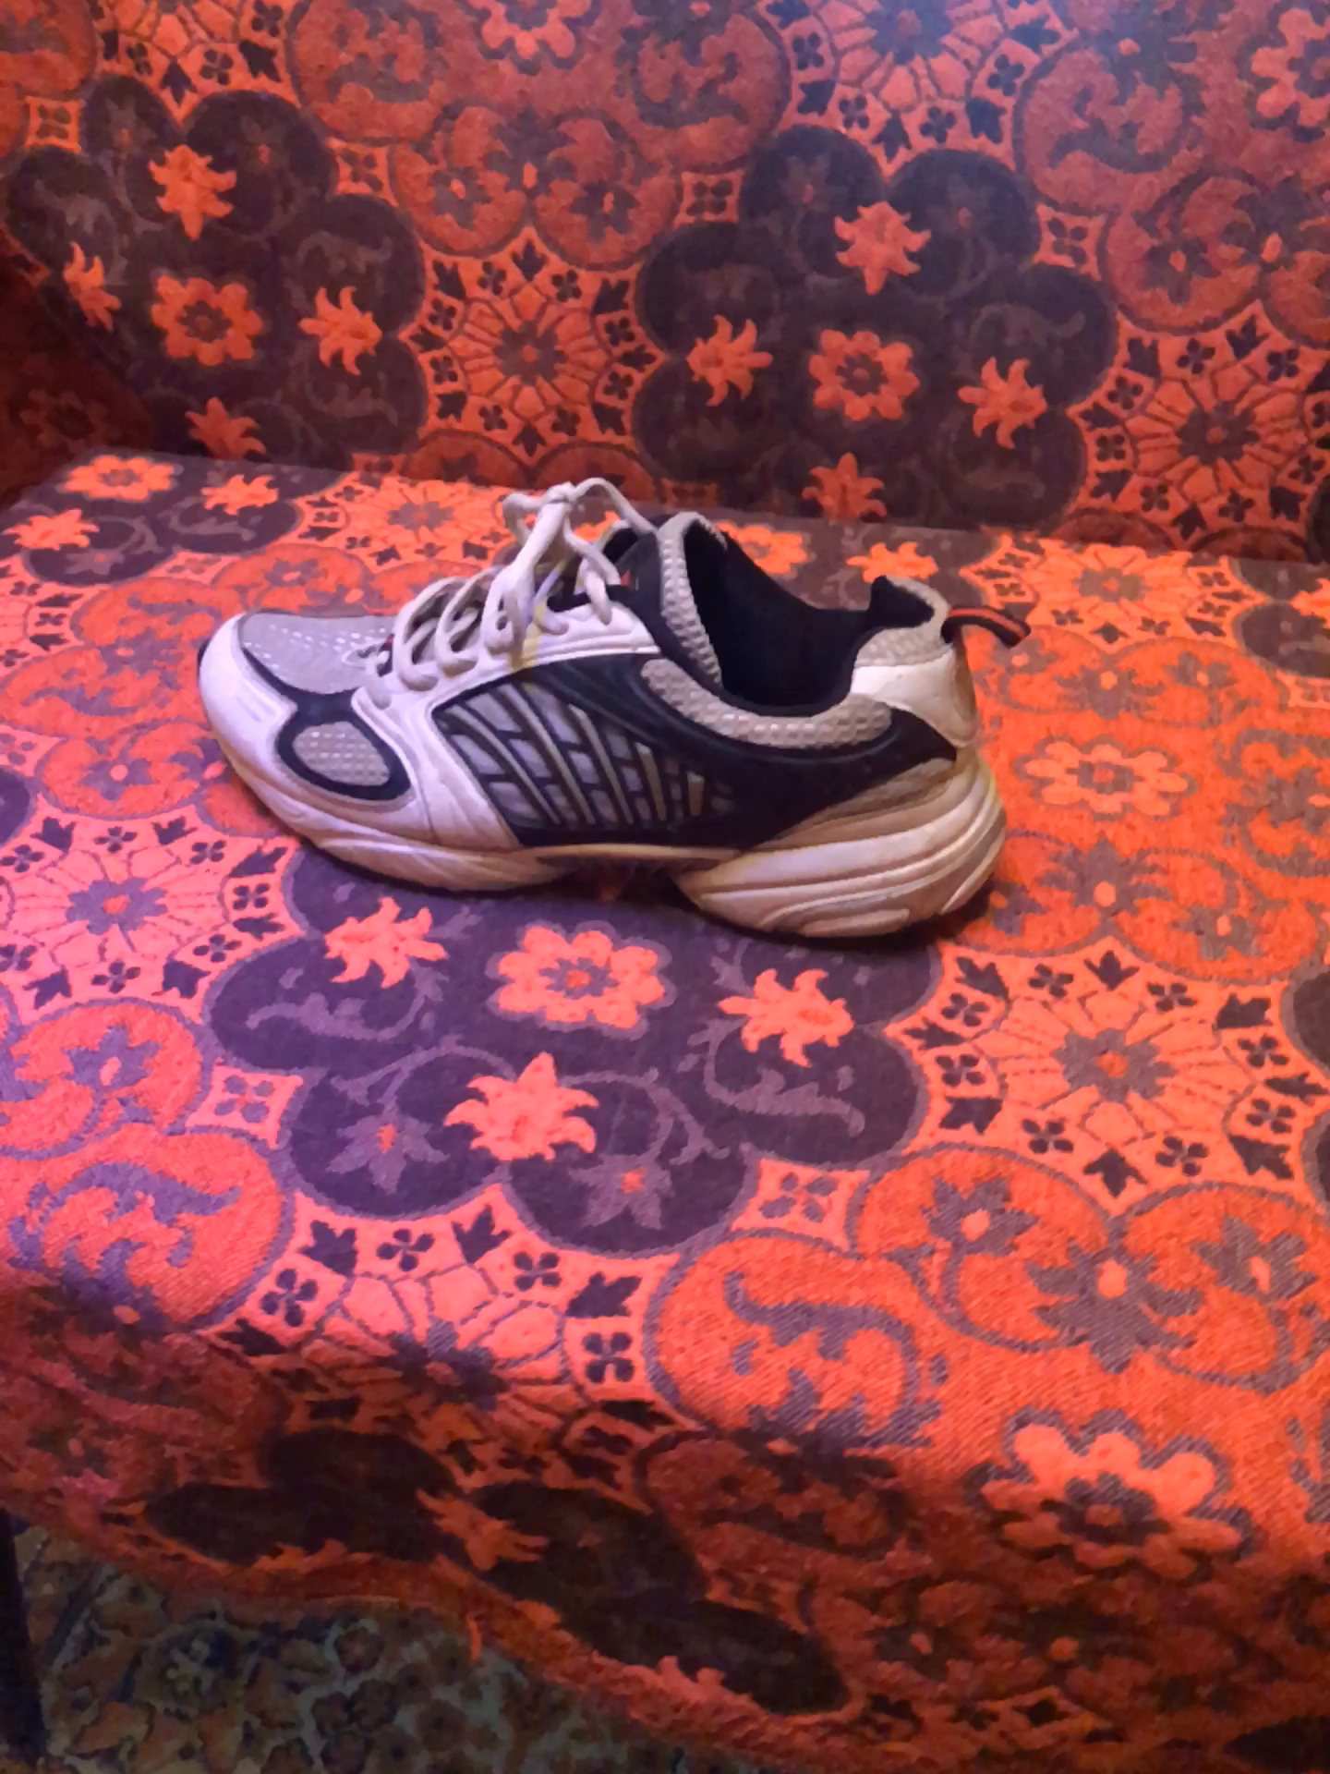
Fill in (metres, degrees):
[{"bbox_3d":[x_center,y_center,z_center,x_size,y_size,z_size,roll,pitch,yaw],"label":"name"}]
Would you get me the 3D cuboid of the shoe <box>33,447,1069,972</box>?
[{"bbox_3d":[-0.031,-0.069,0.501,0.310,0.090,0.121,9,39,11],"label":"shoe"}]
